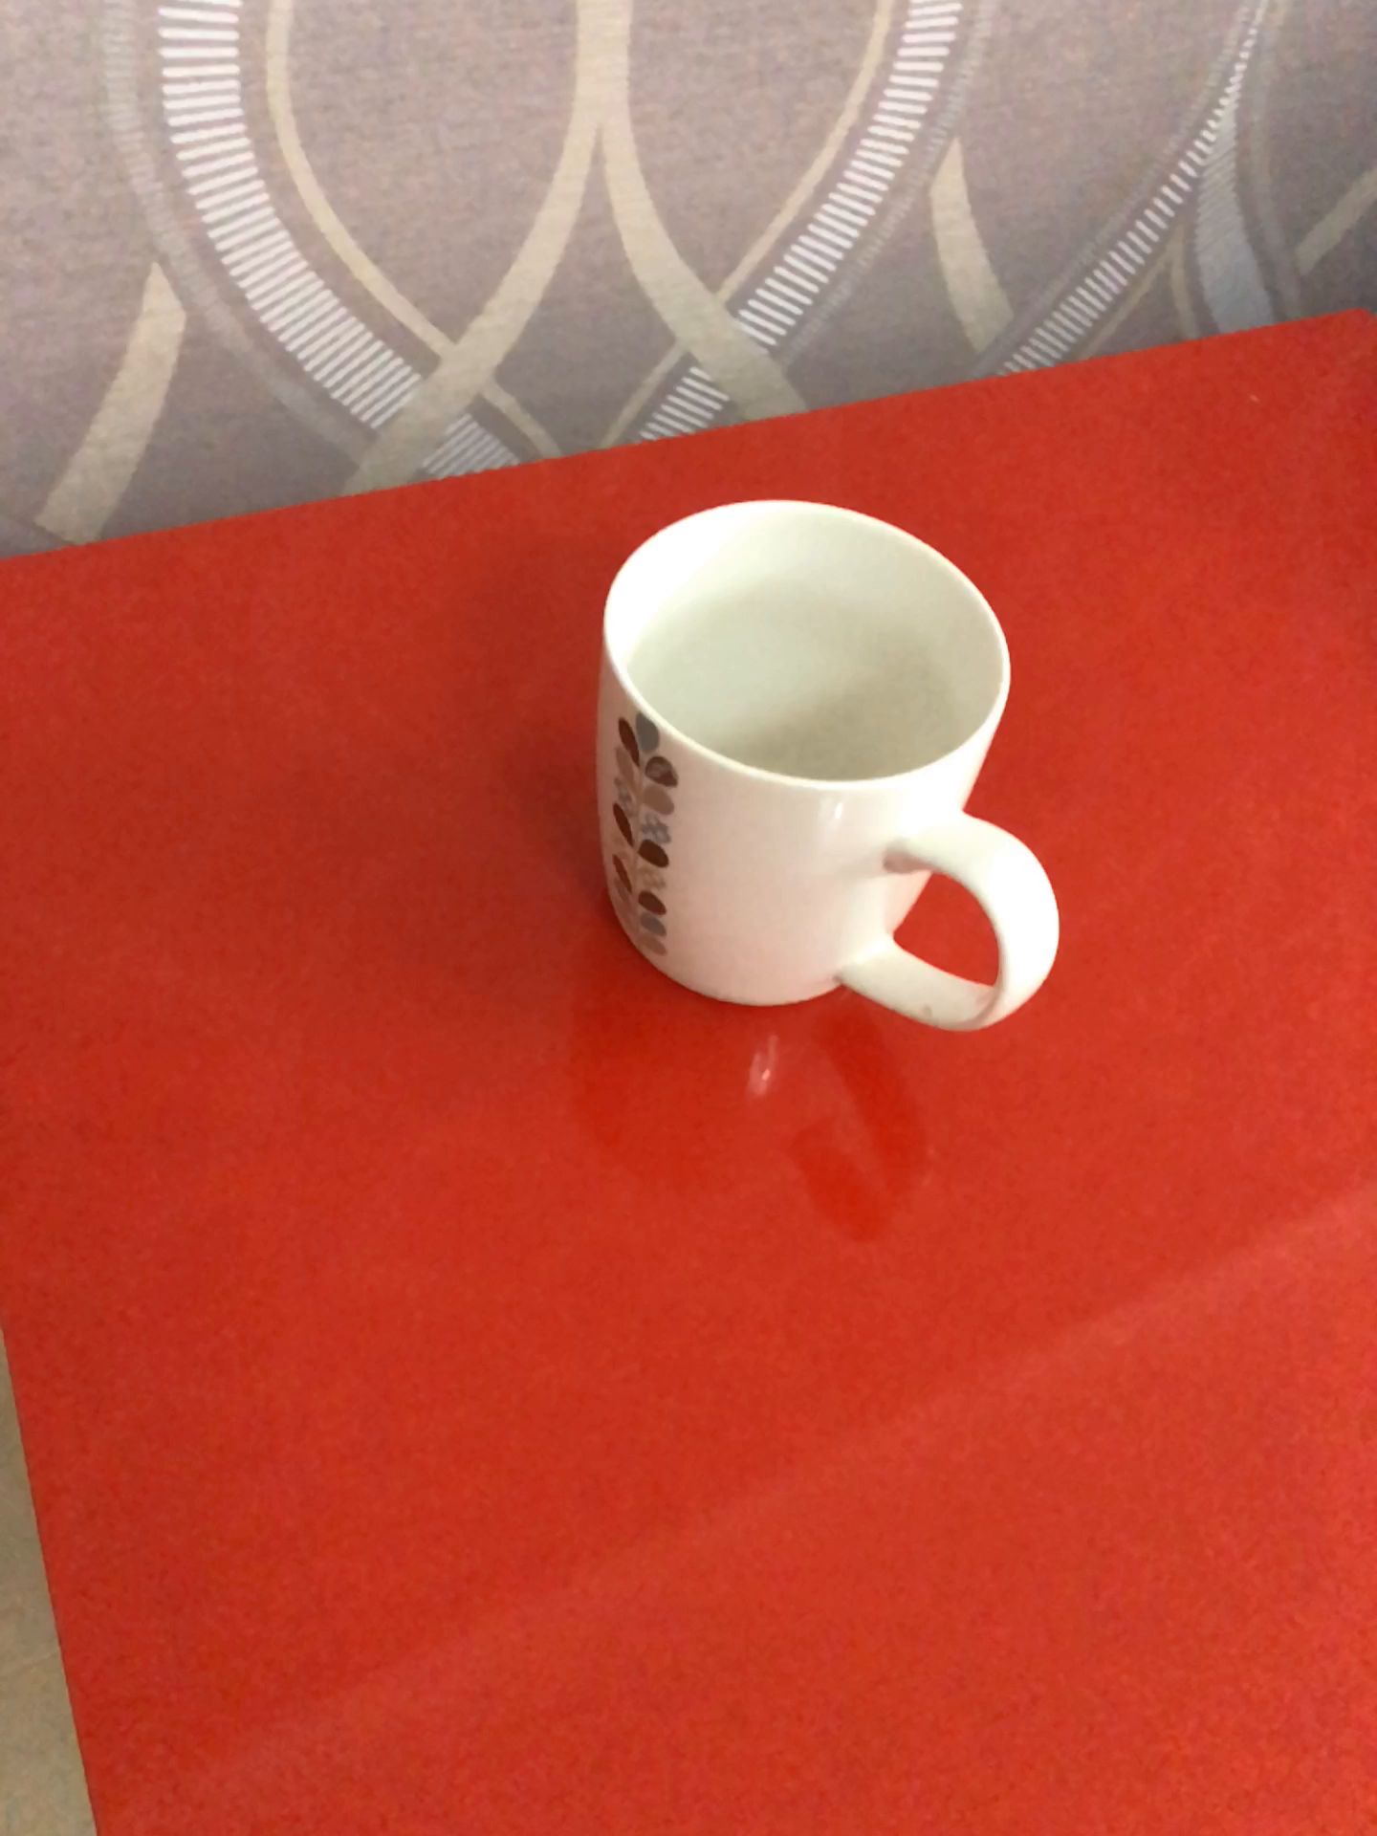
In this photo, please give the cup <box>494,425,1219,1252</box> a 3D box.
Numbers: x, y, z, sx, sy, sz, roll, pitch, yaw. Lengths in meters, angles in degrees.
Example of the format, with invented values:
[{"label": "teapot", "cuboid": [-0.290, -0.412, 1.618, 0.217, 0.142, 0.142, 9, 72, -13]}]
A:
[{"label": "cup", "cuboid": [0.027, -0.018, 0.354, 0.090, 0.119, 0.120, -30, 62, -26]}]
